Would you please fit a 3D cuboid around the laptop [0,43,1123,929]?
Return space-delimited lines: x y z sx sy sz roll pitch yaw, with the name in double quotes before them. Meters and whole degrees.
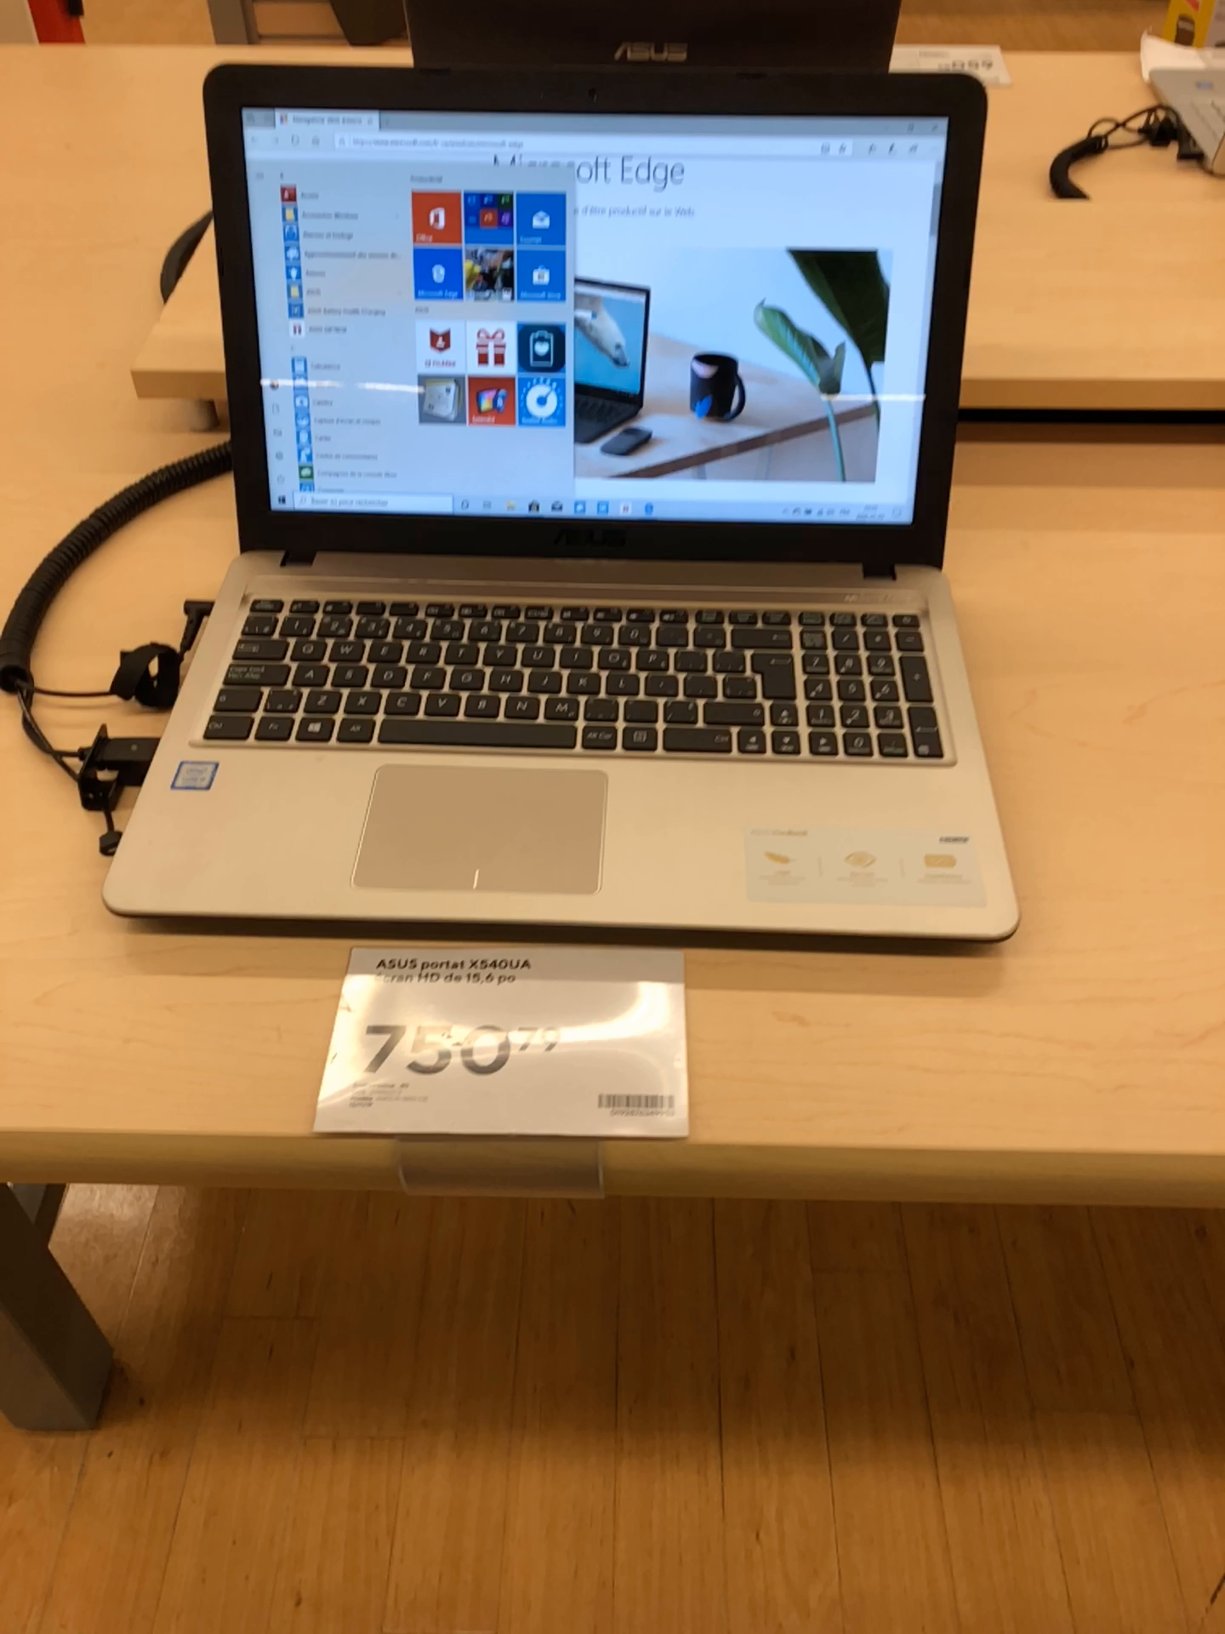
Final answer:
"laptop" -0.023 -0.168 0.626 0.383 0.215 0.361 1 48 1
